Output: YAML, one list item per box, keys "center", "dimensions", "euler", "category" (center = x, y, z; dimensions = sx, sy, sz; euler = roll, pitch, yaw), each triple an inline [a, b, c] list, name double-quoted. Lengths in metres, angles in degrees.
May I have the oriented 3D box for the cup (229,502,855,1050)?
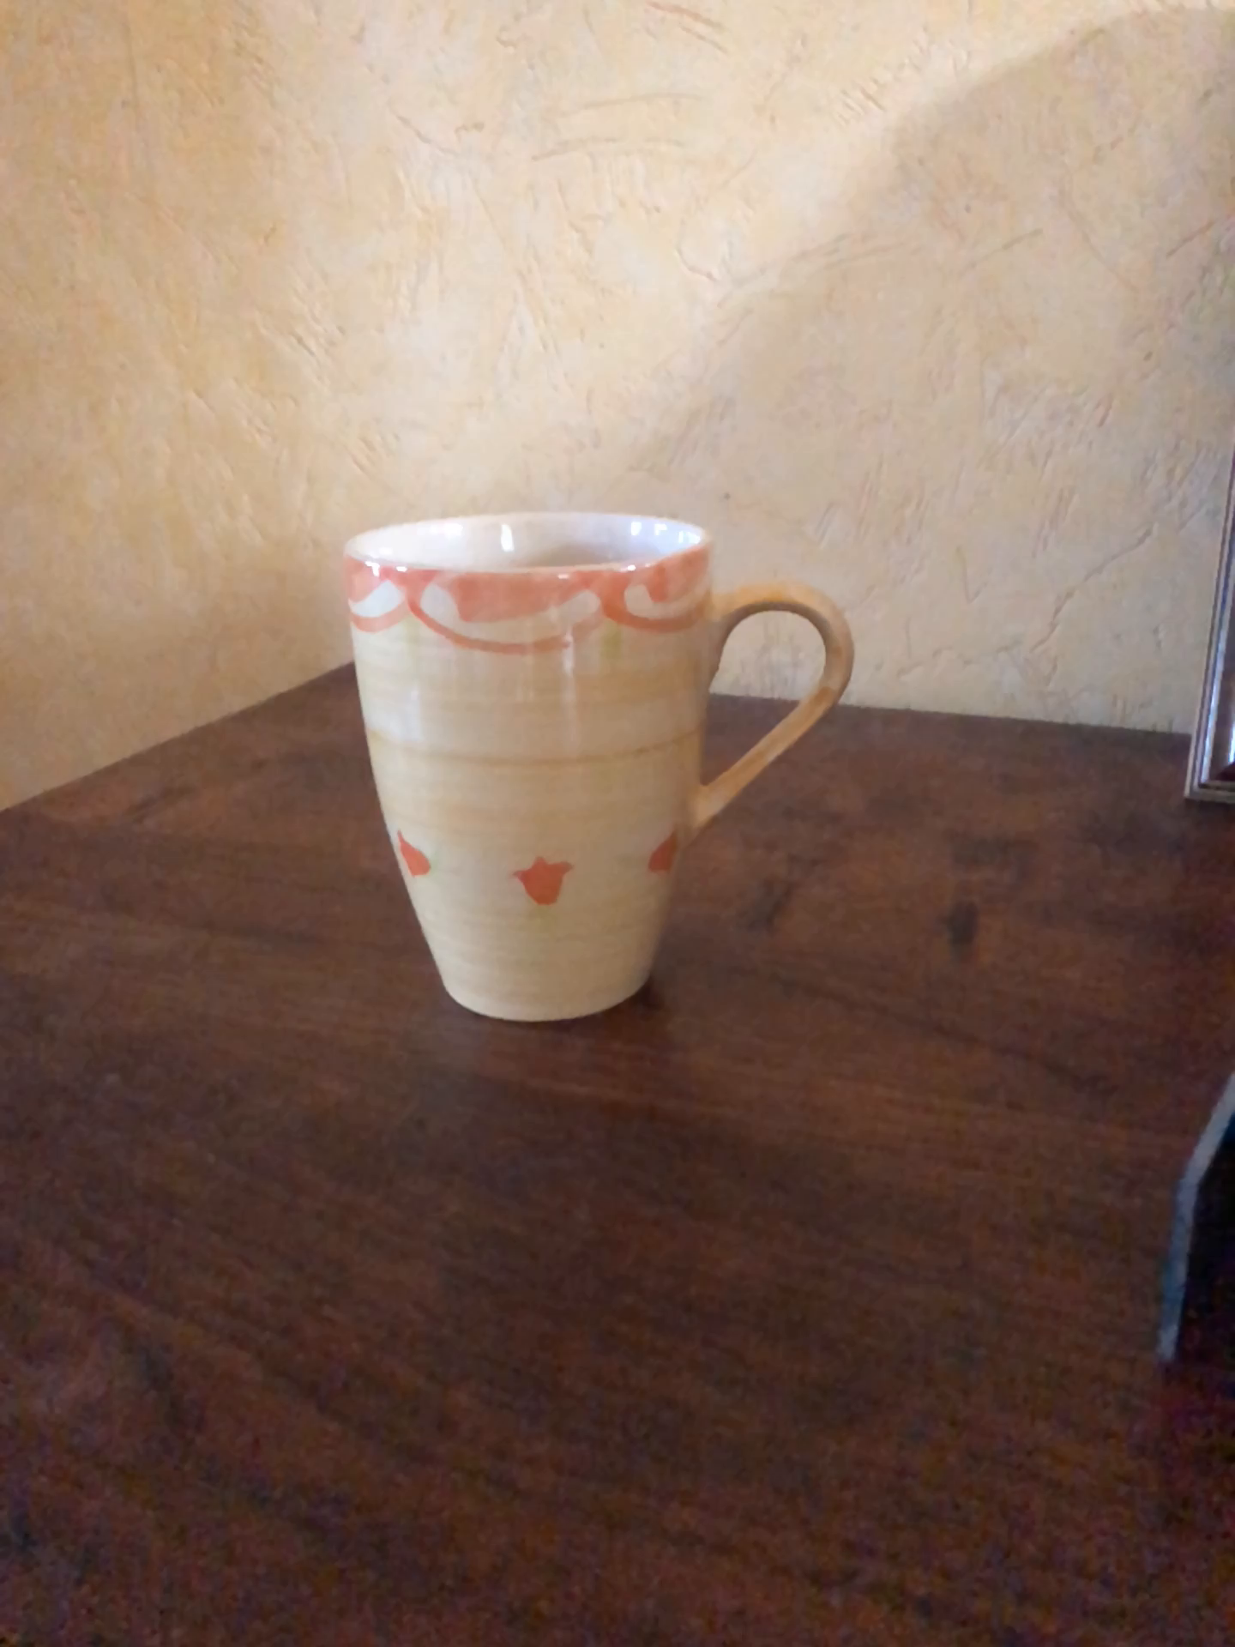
- center: [-0.013, -0.017, 0.325]
  dimensions: [0.120, 0.100, 0.100]
  euler: [-2, 20, 1]
  category: "cup"
